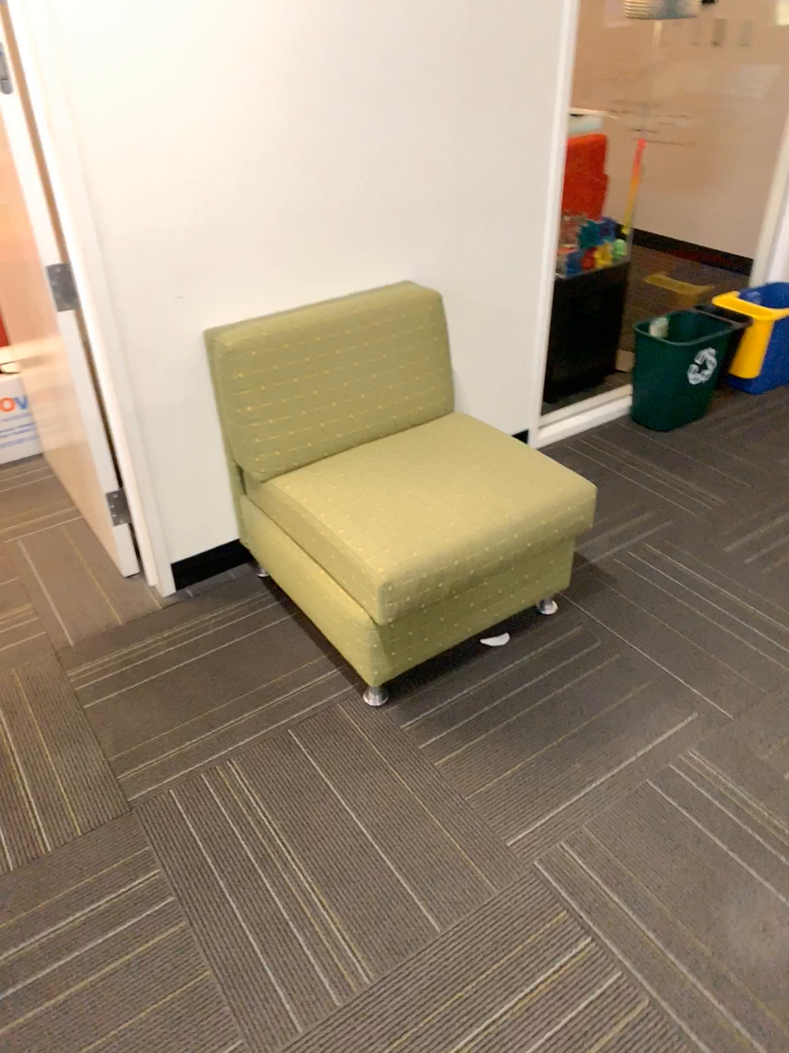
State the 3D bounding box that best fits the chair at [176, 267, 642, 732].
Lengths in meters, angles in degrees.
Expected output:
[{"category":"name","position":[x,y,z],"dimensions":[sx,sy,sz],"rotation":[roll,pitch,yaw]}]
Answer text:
[{"category":"chair","position":[0.010,-0.138,1.988],"dimensions":[0.731,0.686,0.784],"rotation":[-22,40,-27]}]
